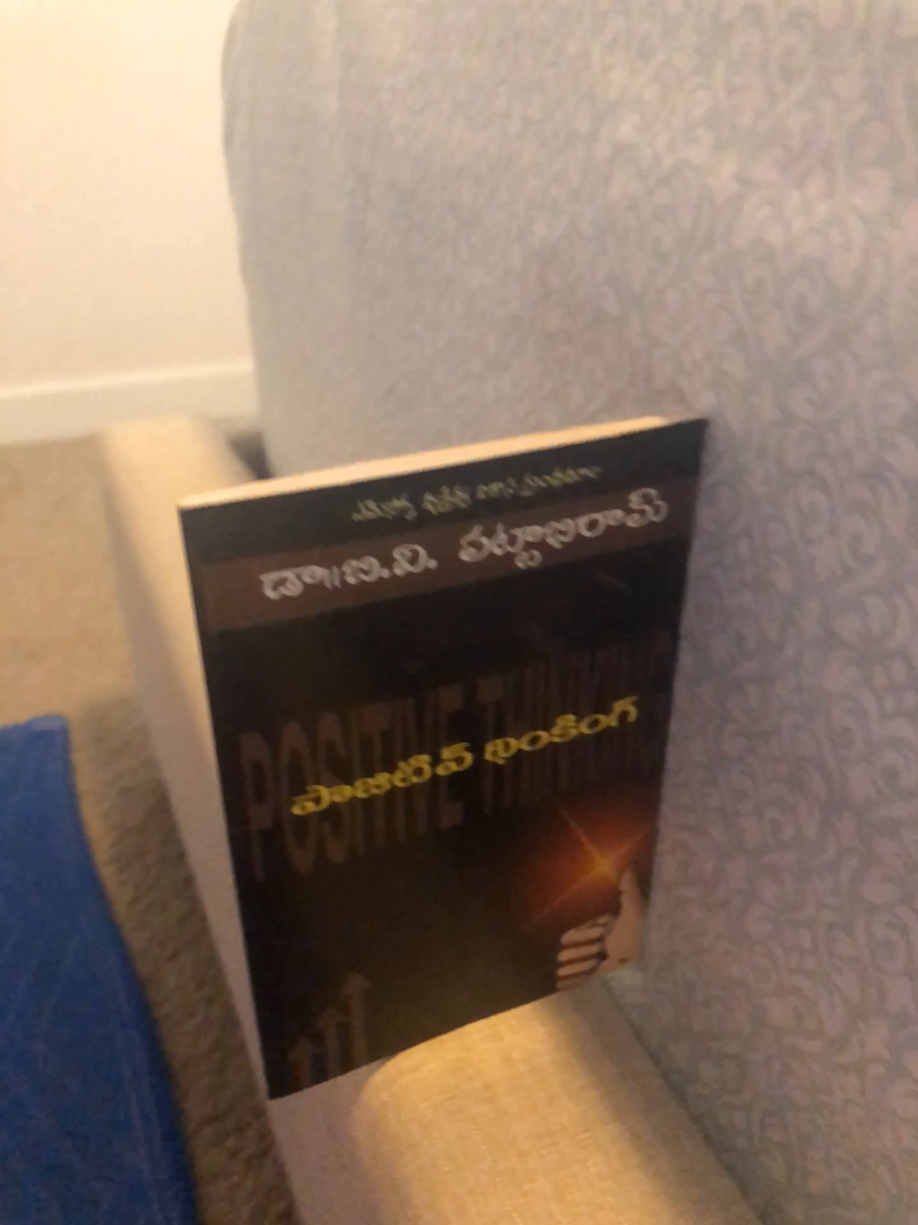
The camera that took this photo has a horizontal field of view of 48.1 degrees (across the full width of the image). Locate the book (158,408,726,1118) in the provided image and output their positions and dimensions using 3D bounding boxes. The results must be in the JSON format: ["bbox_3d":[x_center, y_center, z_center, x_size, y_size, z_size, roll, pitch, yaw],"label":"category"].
[{"bbox_3d":[0.000,0.043,0.260,0.127,0.174,0.011,-12,32,-23],"label":"book"}]
